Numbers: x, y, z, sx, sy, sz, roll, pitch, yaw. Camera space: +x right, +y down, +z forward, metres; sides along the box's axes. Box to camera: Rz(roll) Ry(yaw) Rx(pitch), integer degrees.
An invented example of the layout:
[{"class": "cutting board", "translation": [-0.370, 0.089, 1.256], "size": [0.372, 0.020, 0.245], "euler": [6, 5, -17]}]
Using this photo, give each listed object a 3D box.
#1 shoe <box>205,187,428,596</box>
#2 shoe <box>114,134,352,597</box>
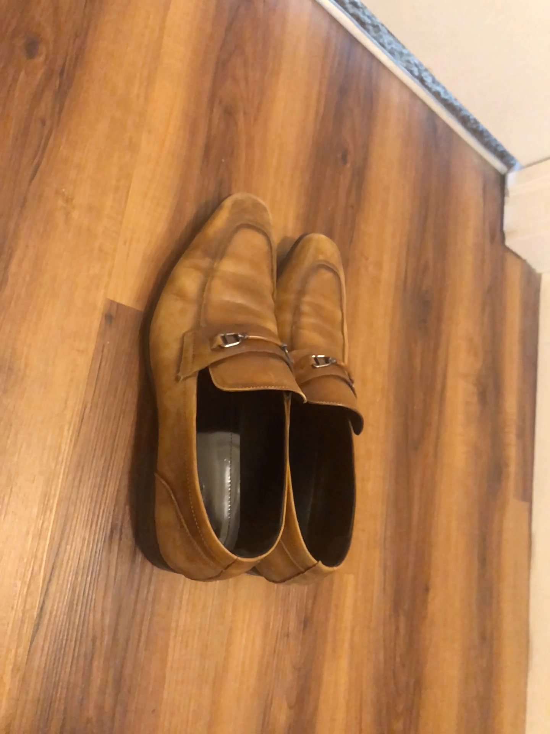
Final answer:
[{"class": "shoe", "translation": [0.042, 0.023, 0.525], "size": [0.107, 0.111, 0.308], "euler": [21, 70, -37]}, {"class": "shoe", "translation": [-0.027, 0.004, 0.469], "size": [0.107, 0.111, 0.308], "euler": [16, 73, -39]}]
